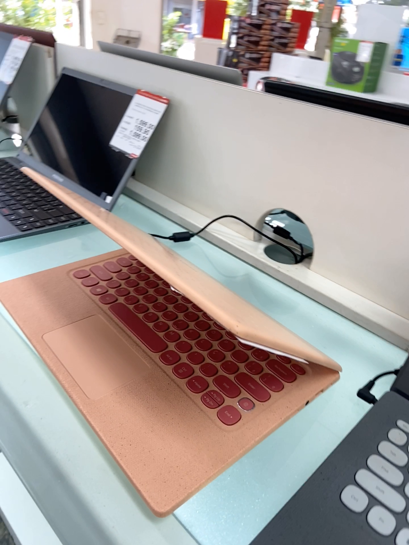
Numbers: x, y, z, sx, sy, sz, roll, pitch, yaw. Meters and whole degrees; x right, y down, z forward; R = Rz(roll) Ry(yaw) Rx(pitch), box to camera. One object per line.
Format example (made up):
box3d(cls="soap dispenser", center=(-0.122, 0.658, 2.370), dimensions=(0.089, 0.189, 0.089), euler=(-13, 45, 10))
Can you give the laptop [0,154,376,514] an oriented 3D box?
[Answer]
box3d(cls="laptop", center=(-0.052, 0.004, 0.409), dimensions=(0.211, 0.129, 0.324), euler=(-20, 39, -37))
